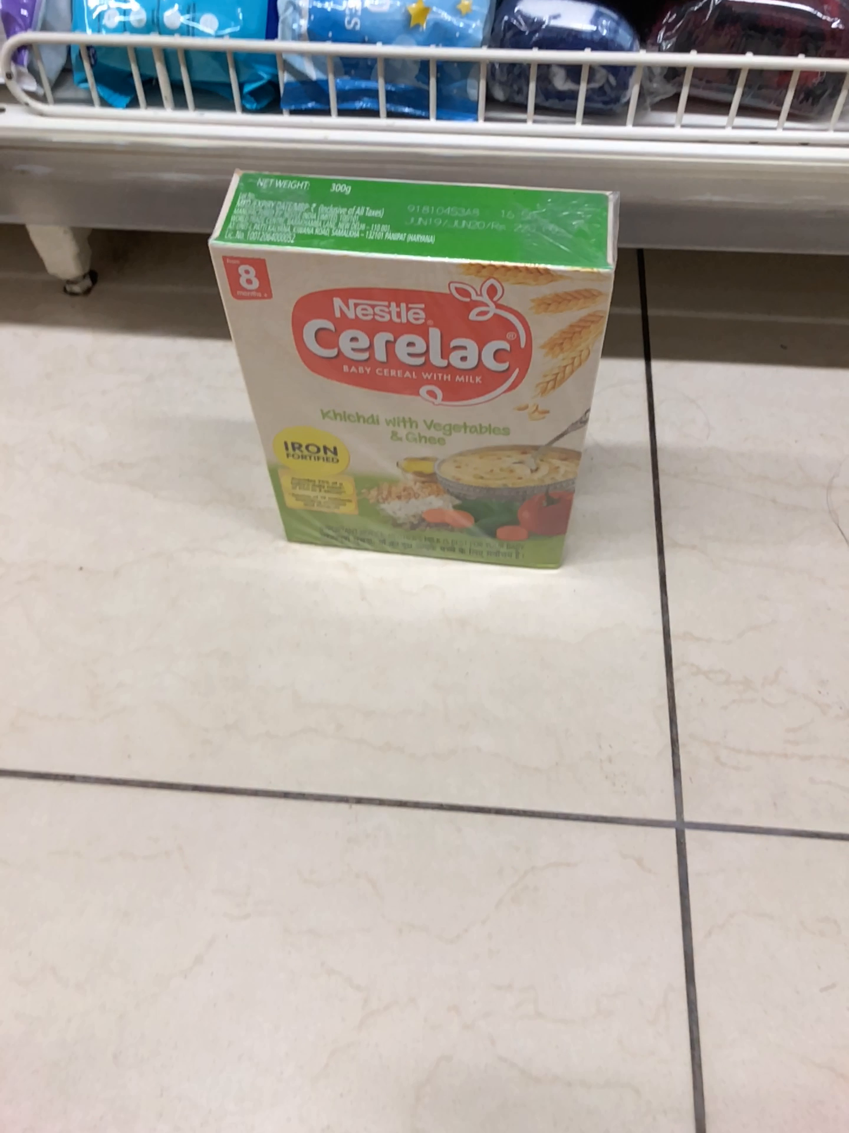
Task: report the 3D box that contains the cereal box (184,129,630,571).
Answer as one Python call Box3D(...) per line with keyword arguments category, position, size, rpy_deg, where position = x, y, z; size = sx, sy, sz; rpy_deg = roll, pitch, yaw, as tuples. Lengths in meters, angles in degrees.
Box3D(category="cereal box", position=(-0.003, -0.086, 0.434), size=(0.160, 0.199, 0.060), rpy_deg=(6, 56, 5))
